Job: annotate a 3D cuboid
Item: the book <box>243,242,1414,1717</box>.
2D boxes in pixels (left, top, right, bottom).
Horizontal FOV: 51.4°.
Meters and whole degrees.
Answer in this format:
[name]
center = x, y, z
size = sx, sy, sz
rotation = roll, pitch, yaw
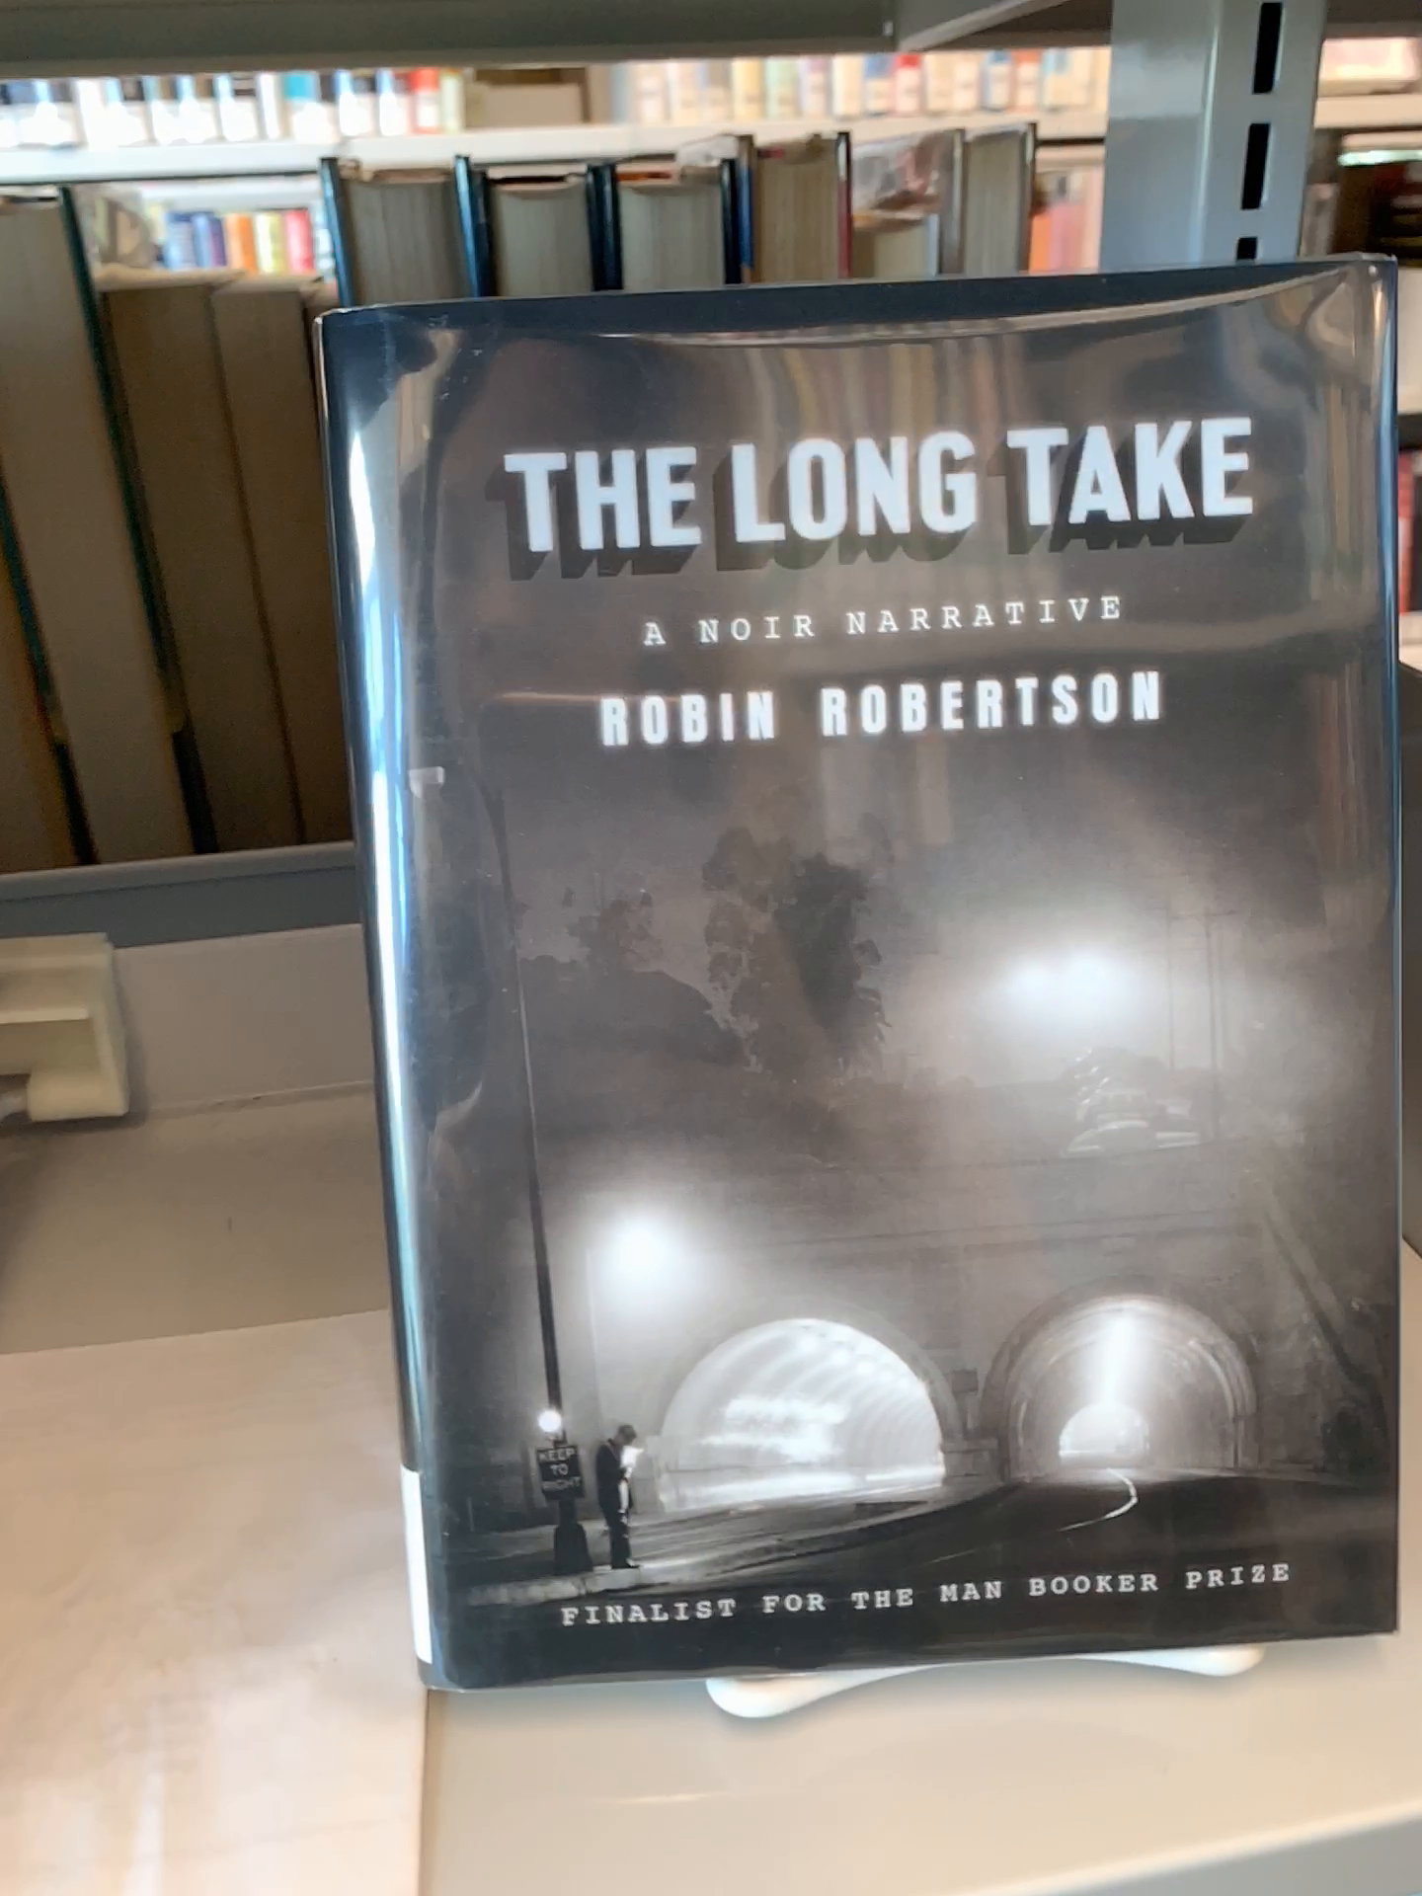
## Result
[book]
center = 0.021, 0.007, 0.234
size = 0.160, 0.206, 0.040
rotation = -3, 6, -1
